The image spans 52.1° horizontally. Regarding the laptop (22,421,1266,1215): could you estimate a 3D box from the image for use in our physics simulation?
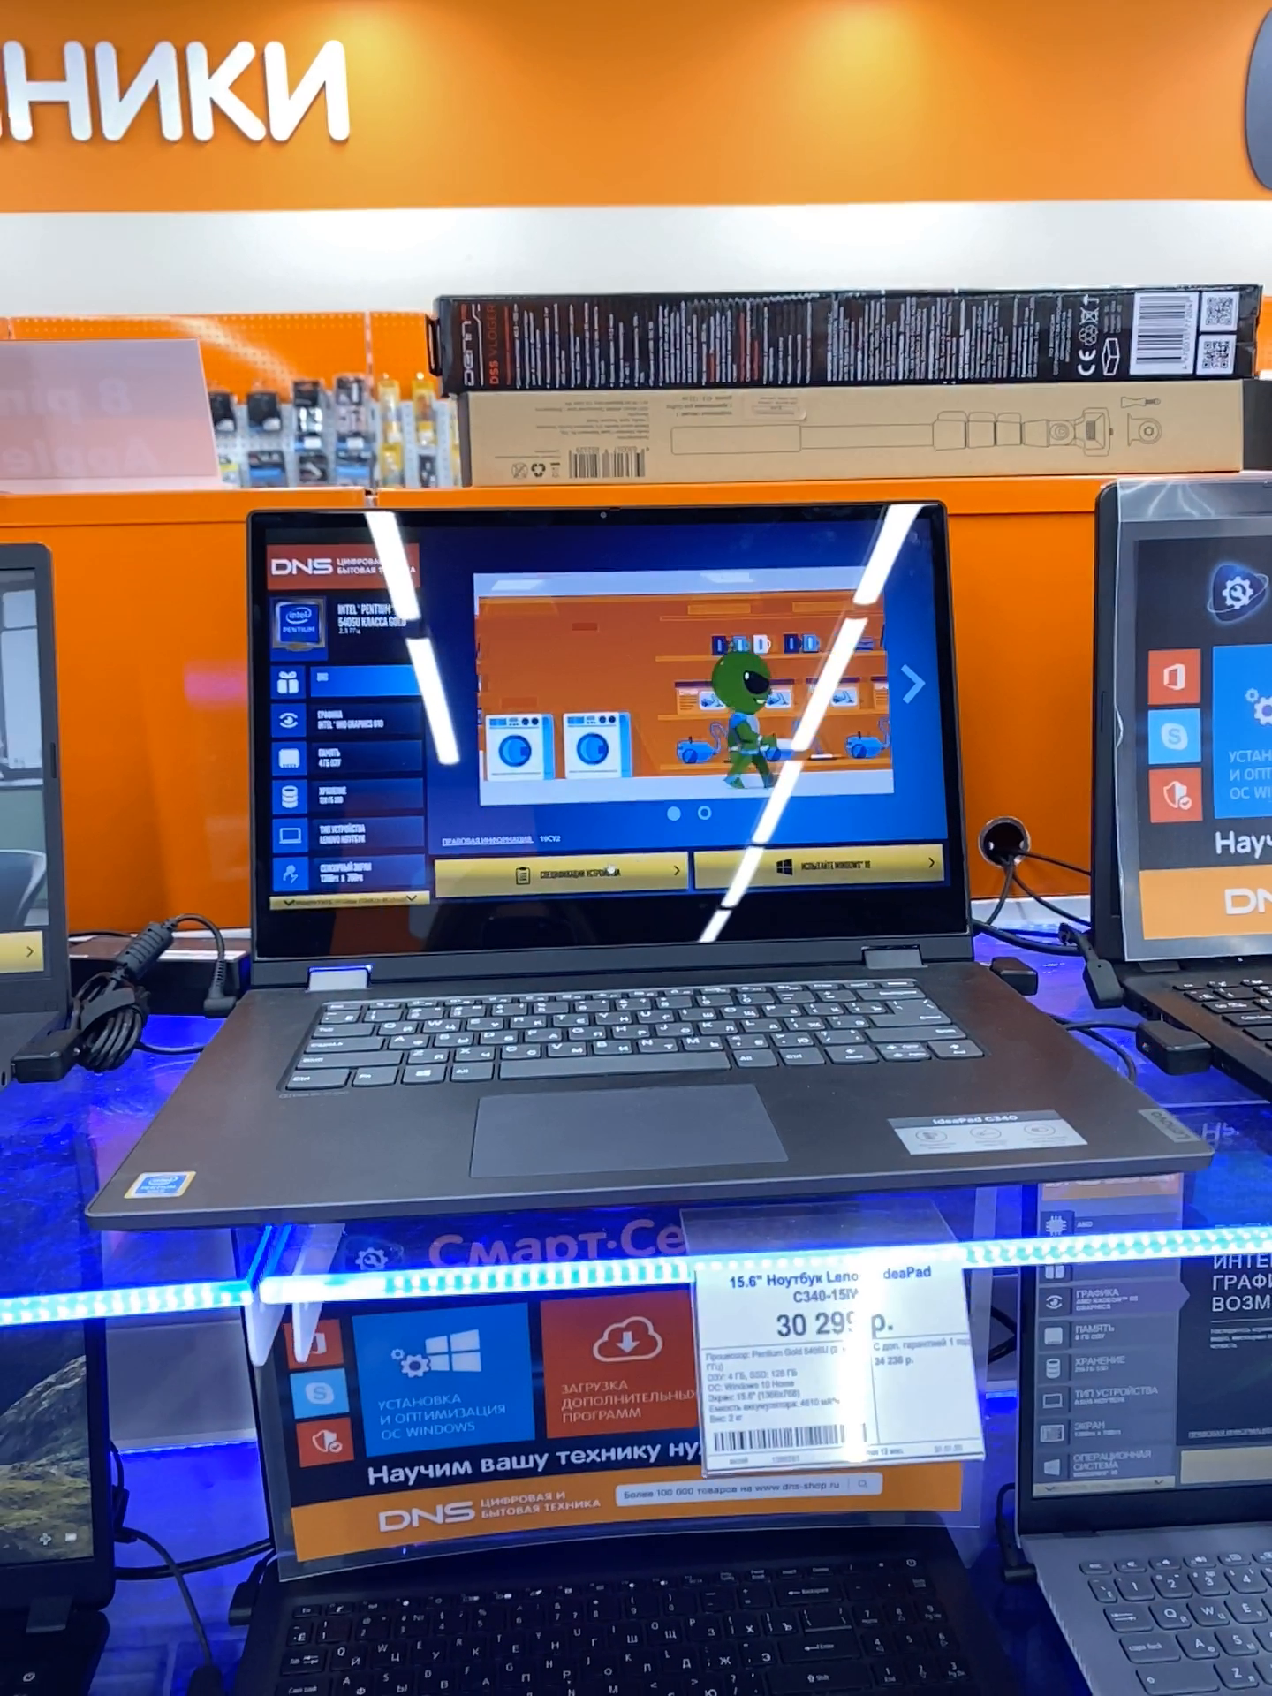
[{"bbox_3d":[0.000,-0.036,0.551,0.362,0.232,0.318,-2,10,-5],"label":"laptop"}]
